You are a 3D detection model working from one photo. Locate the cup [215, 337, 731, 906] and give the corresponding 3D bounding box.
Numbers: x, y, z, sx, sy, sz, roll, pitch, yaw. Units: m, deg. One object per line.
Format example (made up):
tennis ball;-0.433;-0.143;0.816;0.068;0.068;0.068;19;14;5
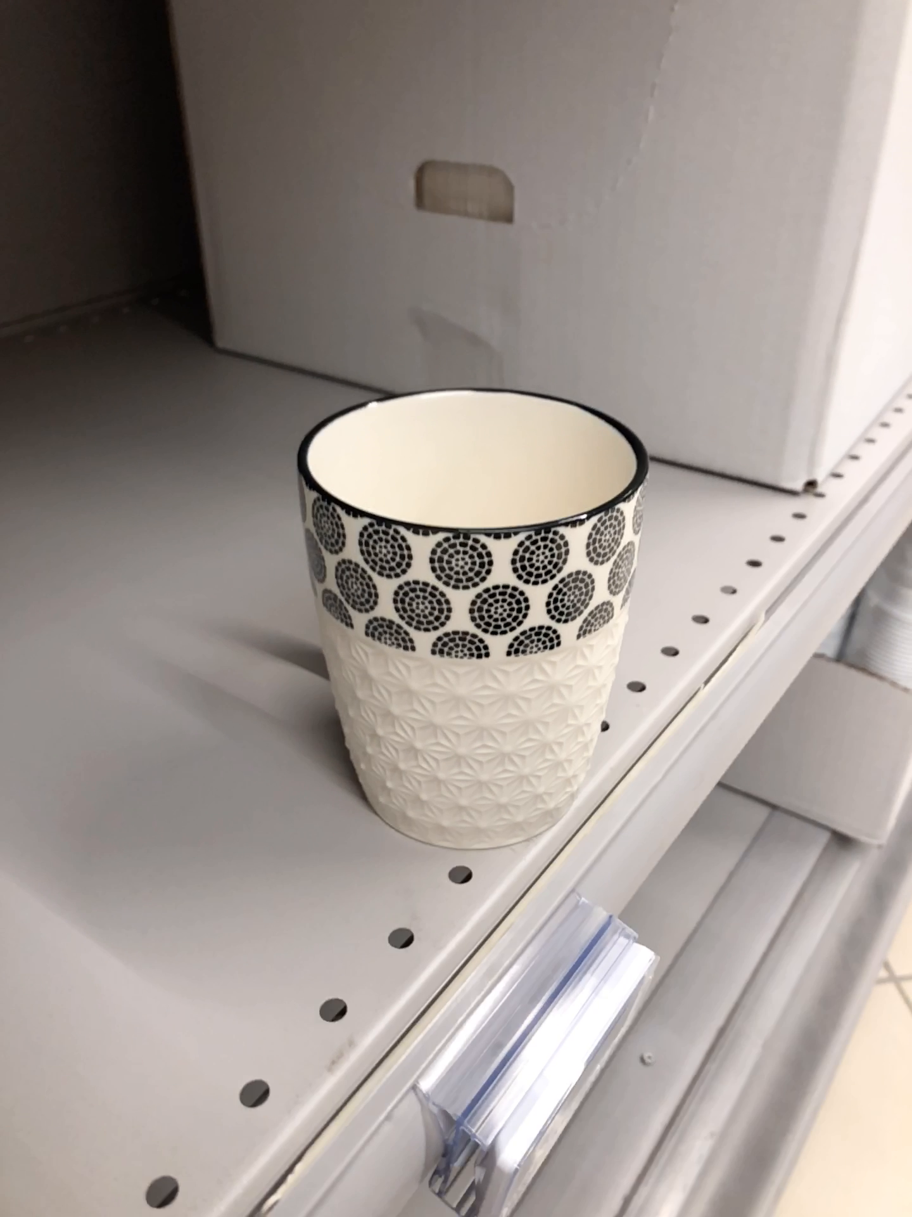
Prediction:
cup;-0.002;-0.005;0.276;0.089;0.095;0.106;-14;36;-22
